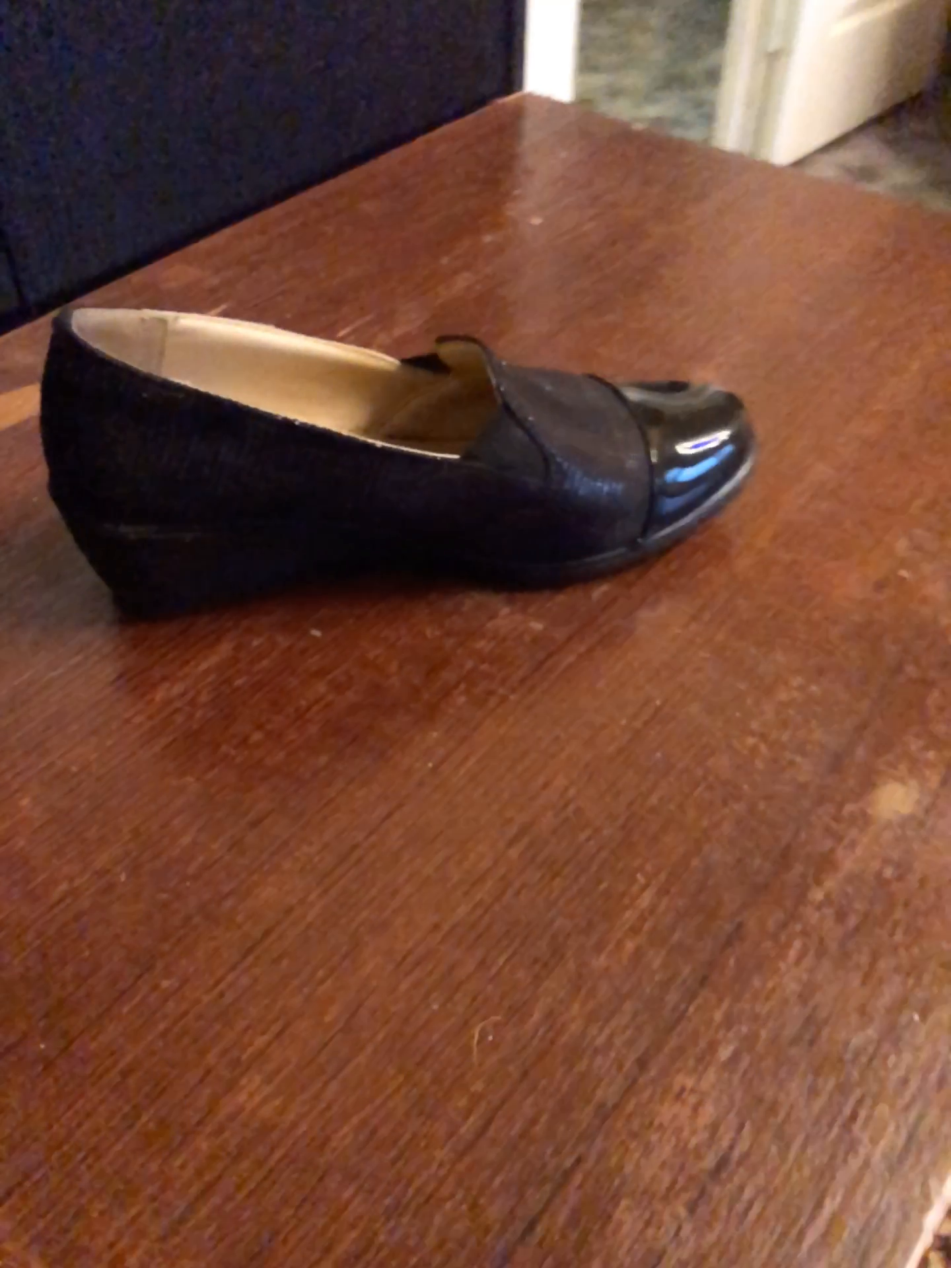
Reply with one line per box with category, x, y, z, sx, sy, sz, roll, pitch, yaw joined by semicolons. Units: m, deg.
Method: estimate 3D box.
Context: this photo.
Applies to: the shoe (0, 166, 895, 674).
shoe;-0.011;-0.071;0.330;0.235;0.090;0.090;-10;47;-10
